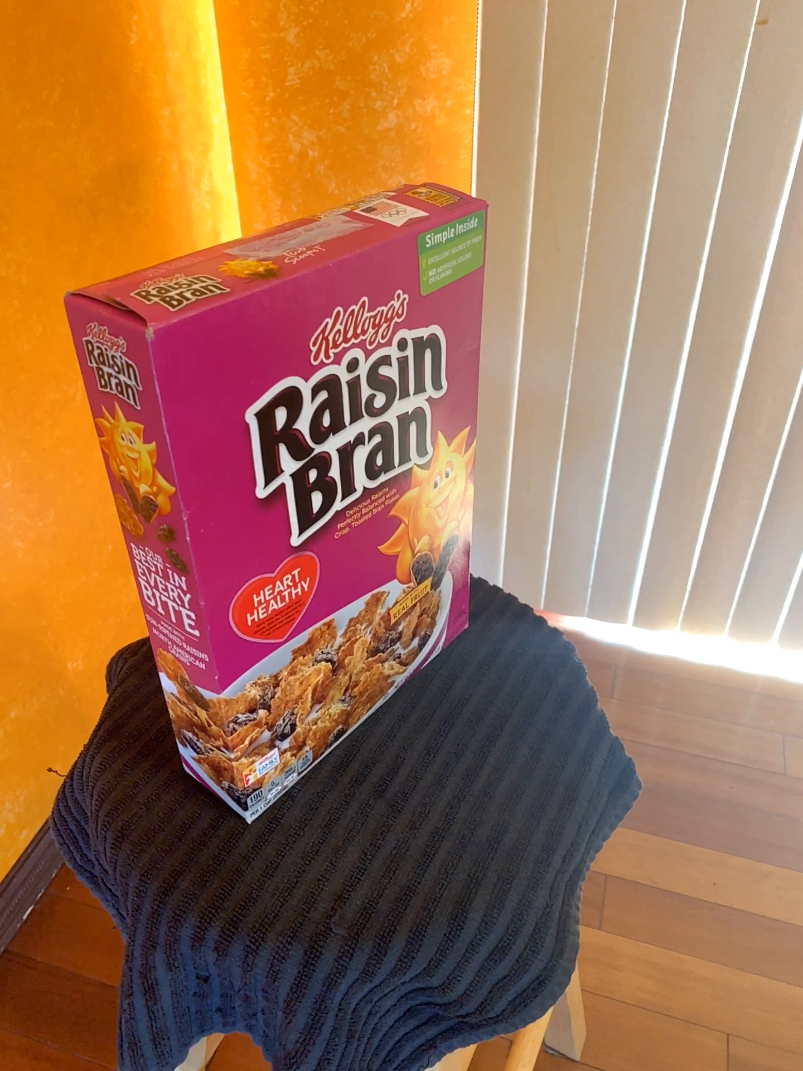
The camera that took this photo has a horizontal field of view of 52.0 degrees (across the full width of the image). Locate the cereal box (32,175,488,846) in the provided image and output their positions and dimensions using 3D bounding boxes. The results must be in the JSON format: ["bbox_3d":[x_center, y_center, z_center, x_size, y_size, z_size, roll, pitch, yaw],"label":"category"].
[{"bbox_3d":[-0.045,-0.009,0.428,0.060,0.288,0.201,26,44,31],"label":"cereal box"}]
